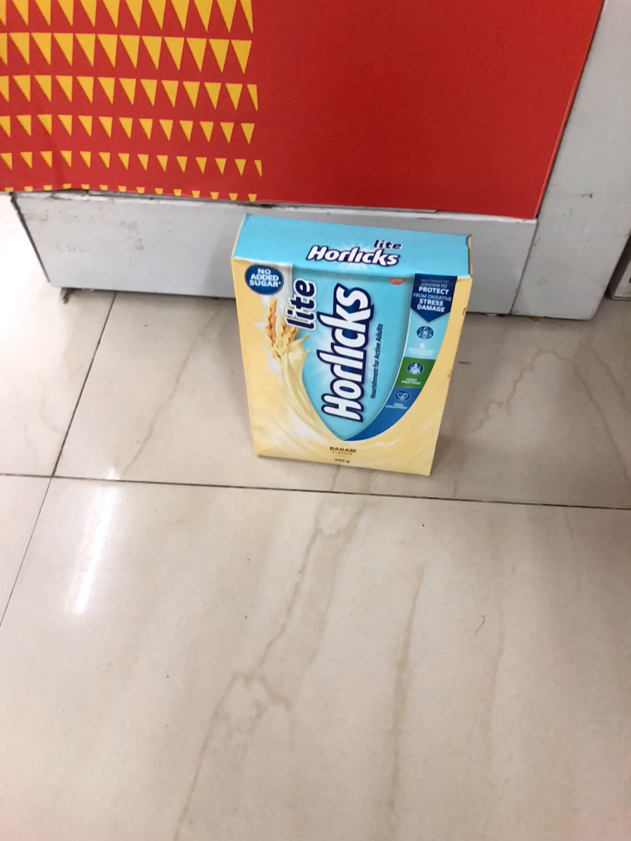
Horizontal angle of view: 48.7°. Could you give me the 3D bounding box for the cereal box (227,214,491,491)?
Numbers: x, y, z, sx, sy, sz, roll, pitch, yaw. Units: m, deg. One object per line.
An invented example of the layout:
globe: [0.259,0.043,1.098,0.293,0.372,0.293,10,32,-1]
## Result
cereal box: [0.026,-0.038,0.480,0.150,0.189,0.050,6,47,5]
